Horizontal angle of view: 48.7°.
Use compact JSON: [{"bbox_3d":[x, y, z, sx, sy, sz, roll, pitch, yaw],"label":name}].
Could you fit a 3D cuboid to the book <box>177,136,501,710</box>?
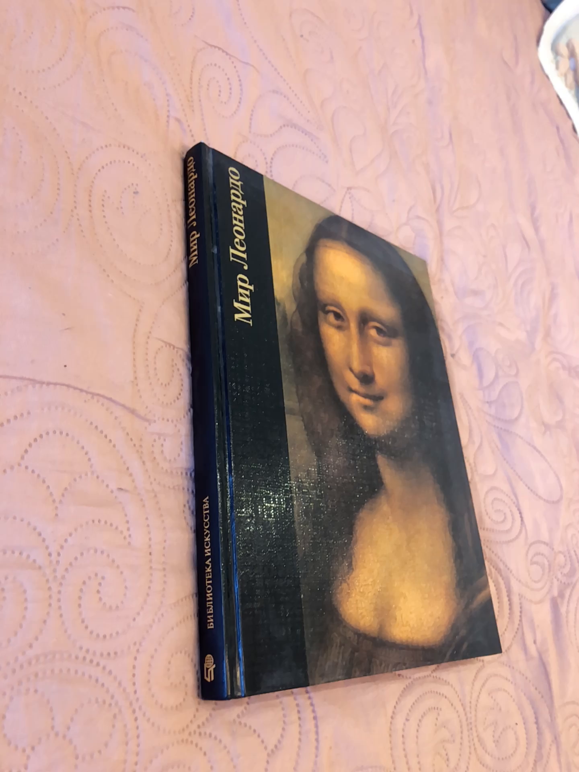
[{"bbox_3d":[0.033,0.020,0.373,0.211,0.030,0.273,14,63,-42],"label":"book"}]
